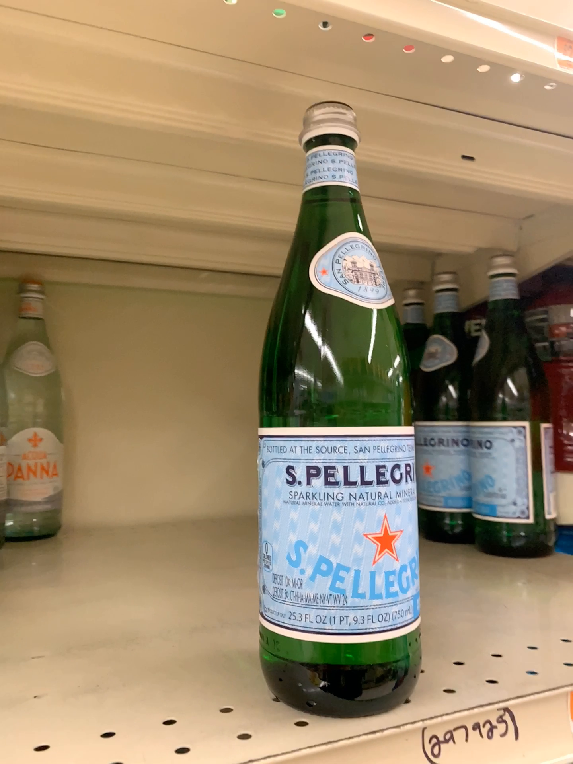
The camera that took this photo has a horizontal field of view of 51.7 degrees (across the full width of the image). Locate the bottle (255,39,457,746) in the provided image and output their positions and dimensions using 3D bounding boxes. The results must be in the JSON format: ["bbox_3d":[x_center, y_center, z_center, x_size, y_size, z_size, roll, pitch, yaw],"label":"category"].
[{"bbox_3d":[0.030,0.001,0.294,0.078,0.302,0.065,1,-3,-16],"label":"bottle"}]
